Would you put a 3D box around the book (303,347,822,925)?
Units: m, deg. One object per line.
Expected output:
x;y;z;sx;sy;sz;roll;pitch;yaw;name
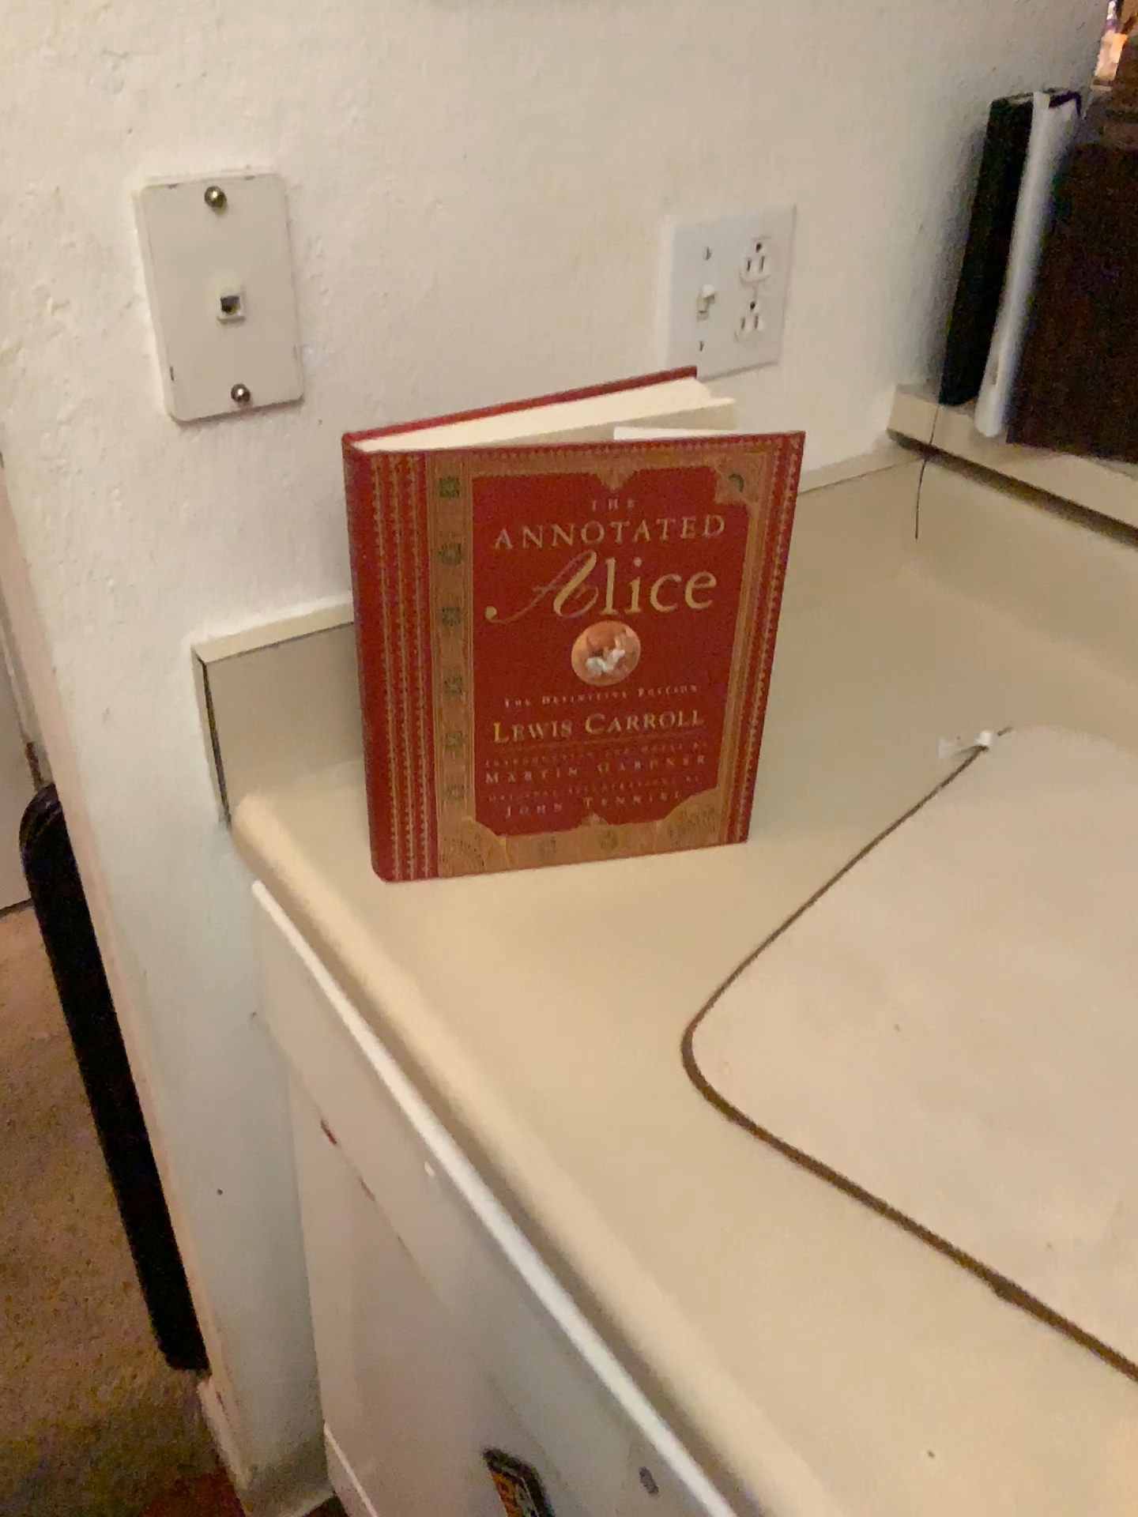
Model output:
-0.012;-0.072;0.715;0.230;0.260;0.150;-9;36;-15;book
